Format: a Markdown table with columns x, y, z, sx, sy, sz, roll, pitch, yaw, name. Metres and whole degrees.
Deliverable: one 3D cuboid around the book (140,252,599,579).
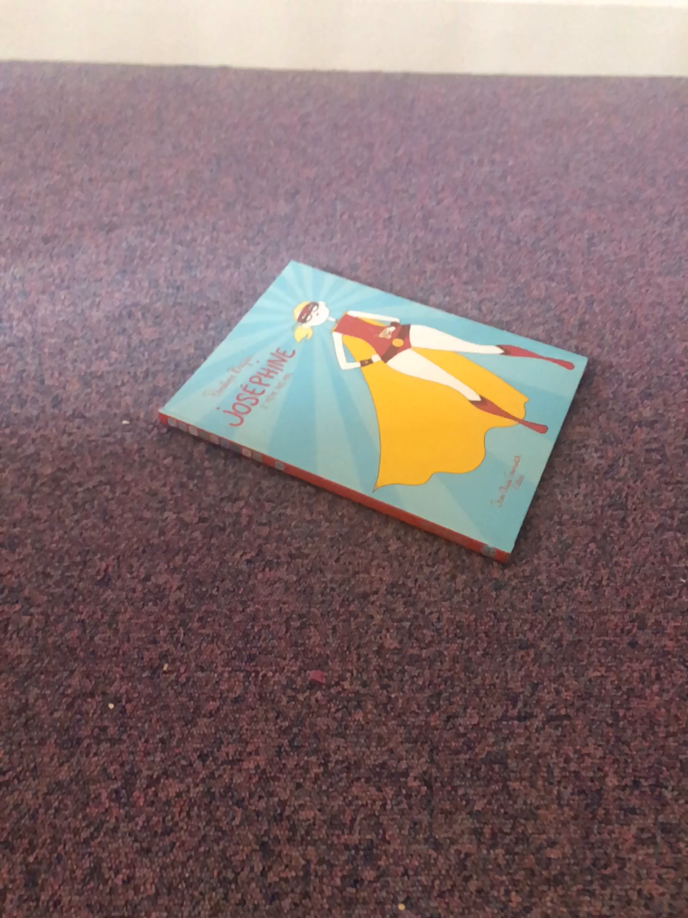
| x | y | z | sx | sy | sz | roll | pitch | yaw | name |
| --- | --- | --- | --- | --- | --- | --- | --- | --- | --- |
| 0.029 | -0.058 | 0.627 | 0.306 | 0.020 | 0.235 | 21 | 53 | 15 | book |
